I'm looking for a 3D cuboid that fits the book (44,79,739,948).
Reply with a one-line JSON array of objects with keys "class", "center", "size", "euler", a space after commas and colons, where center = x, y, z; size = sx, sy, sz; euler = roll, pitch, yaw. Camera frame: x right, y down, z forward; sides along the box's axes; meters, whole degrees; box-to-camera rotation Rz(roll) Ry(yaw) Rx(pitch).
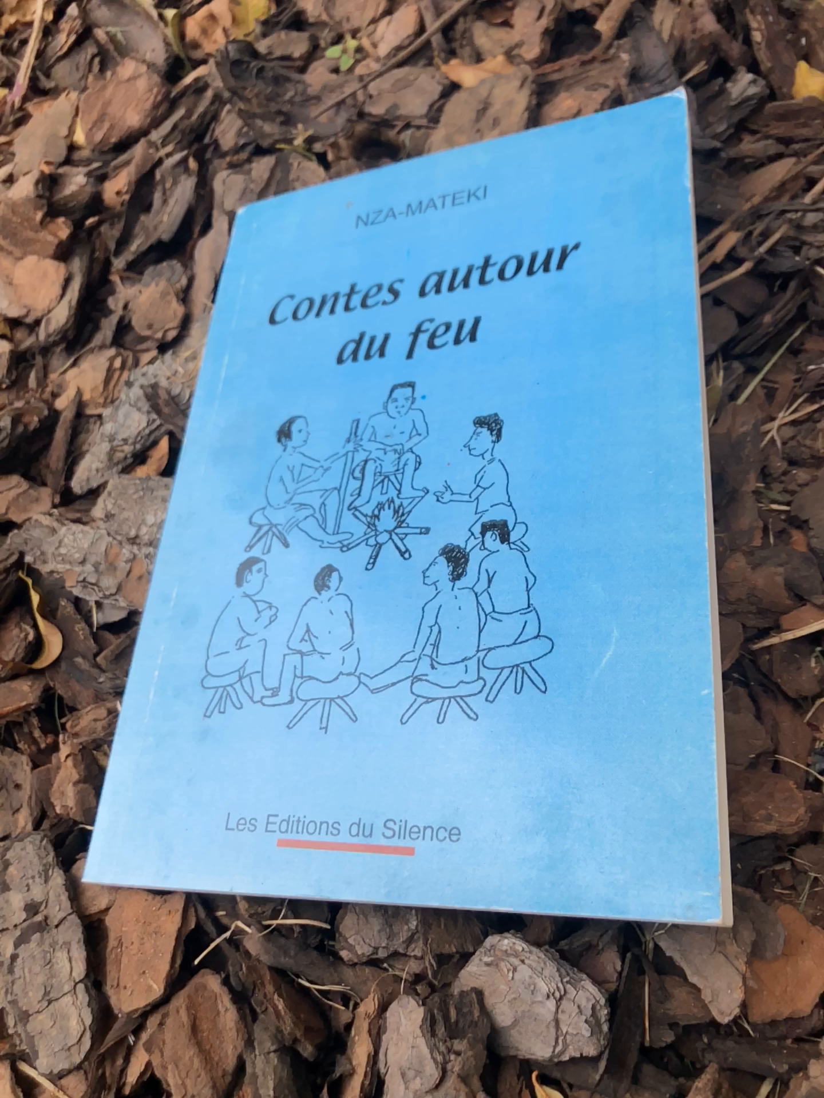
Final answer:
[{"class": "book", "center": [-0.002, -0.019, 0.225], "size": [0.144, 0.015, 0.202], "euler": [-5, 63, 23]}]
